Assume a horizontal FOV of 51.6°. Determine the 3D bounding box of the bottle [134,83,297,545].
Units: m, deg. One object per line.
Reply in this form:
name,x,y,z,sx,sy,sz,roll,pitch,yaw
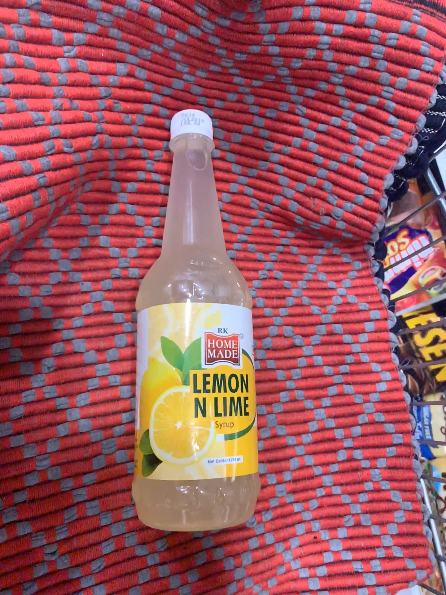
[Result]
bottle,-0.015,0.002,0.293,0.070,0.070,0.260,4,71,-21
